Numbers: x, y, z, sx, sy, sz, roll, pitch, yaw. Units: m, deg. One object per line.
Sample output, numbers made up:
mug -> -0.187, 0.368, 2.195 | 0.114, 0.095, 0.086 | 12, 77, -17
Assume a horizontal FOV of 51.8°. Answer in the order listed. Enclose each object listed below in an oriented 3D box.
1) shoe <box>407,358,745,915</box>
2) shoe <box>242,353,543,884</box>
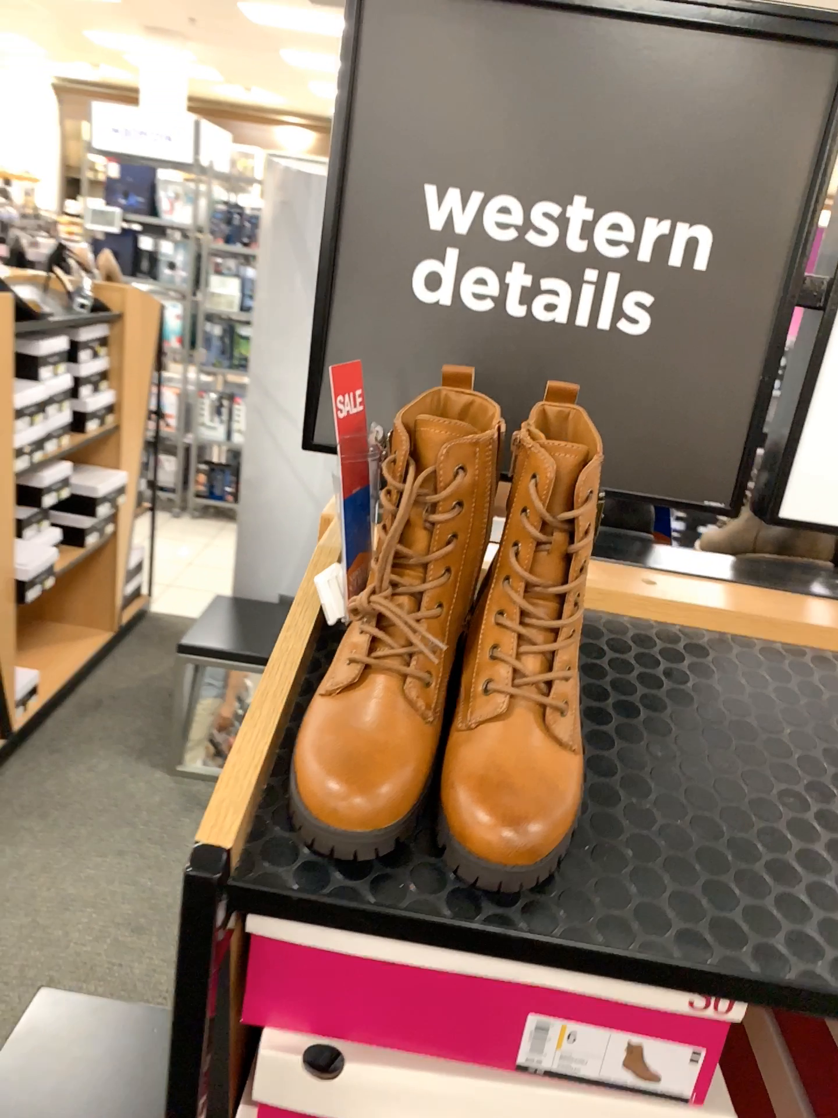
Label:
shoe -> 0.069, 0.016, 0.531 | 0.110, 0.229, 0.287 | 8, 19, -1
shoe -> -0.001, 0.006, 0.533 | 0.090, 0.229, 0.277 | 12, 19, 9
